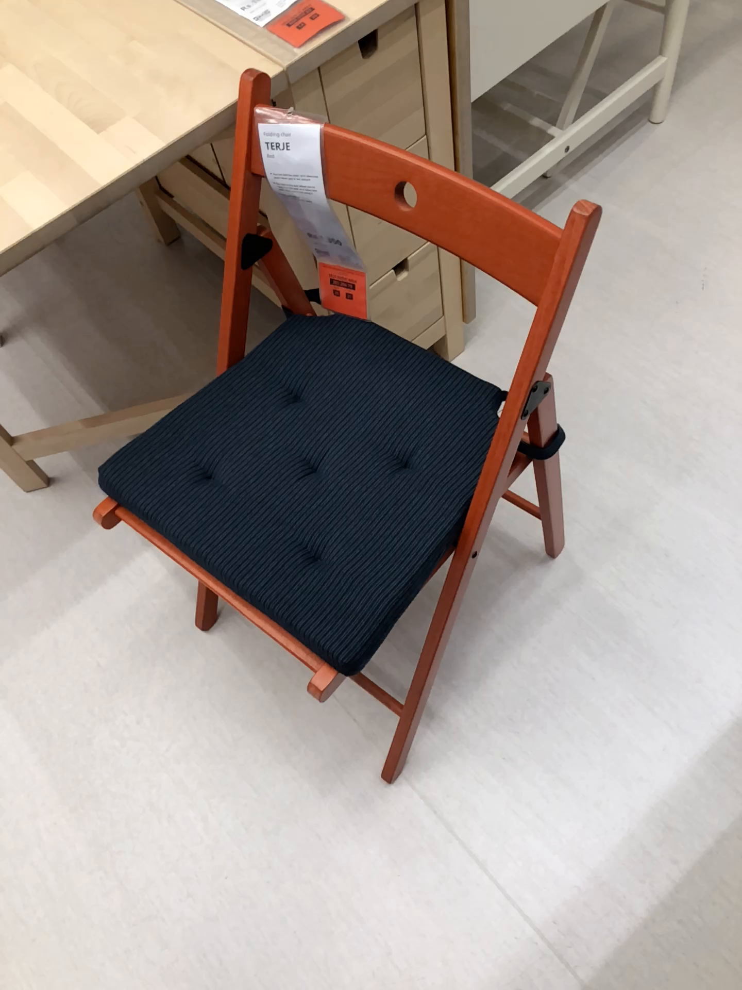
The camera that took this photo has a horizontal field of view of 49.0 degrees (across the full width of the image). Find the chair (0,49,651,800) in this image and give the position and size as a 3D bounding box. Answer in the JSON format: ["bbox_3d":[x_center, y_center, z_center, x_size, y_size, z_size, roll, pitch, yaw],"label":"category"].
[{"bbox_3d":[-0.041,-0.029,1.050,0.471,0.717,0.501,34,71,24],"label":"chair"}]
